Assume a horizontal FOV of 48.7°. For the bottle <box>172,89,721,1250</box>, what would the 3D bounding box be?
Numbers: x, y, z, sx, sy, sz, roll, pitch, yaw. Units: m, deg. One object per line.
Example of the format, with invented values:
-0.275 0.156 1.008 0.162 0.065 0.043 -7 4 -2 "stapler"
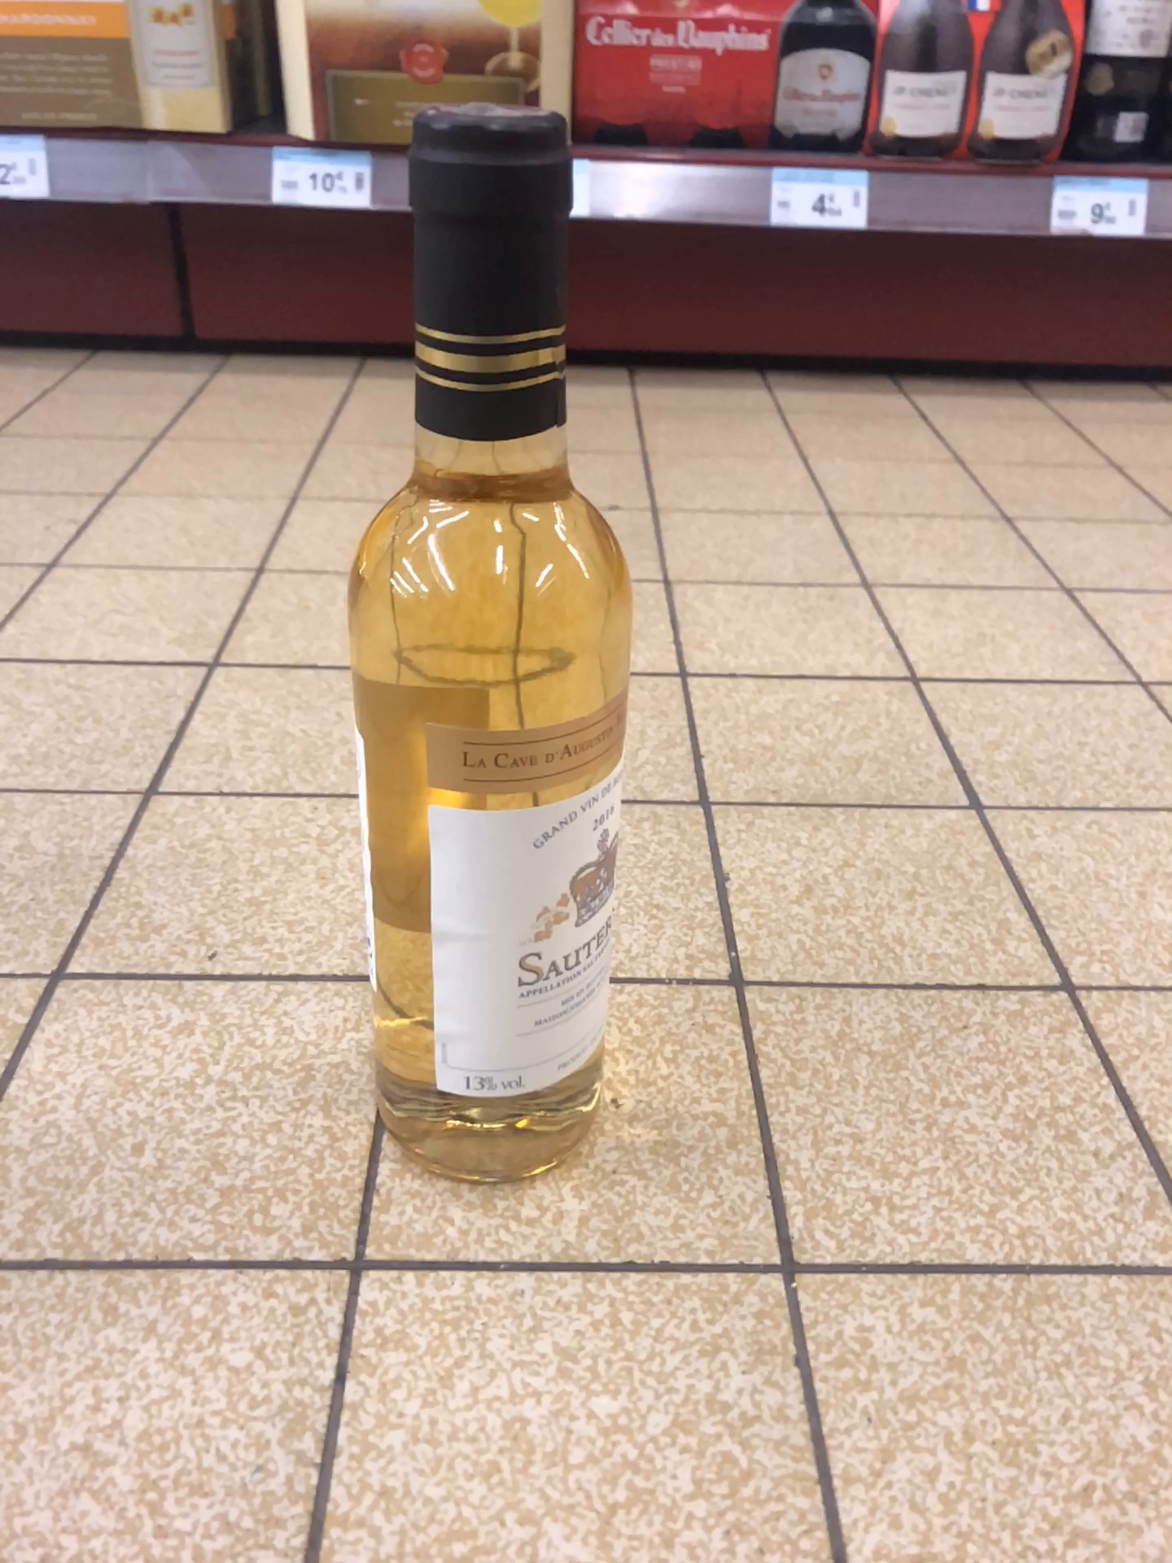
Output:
-0.025 -0.015 0.287 0.070 0.239 0.070 2 31 -1 "bottle"
